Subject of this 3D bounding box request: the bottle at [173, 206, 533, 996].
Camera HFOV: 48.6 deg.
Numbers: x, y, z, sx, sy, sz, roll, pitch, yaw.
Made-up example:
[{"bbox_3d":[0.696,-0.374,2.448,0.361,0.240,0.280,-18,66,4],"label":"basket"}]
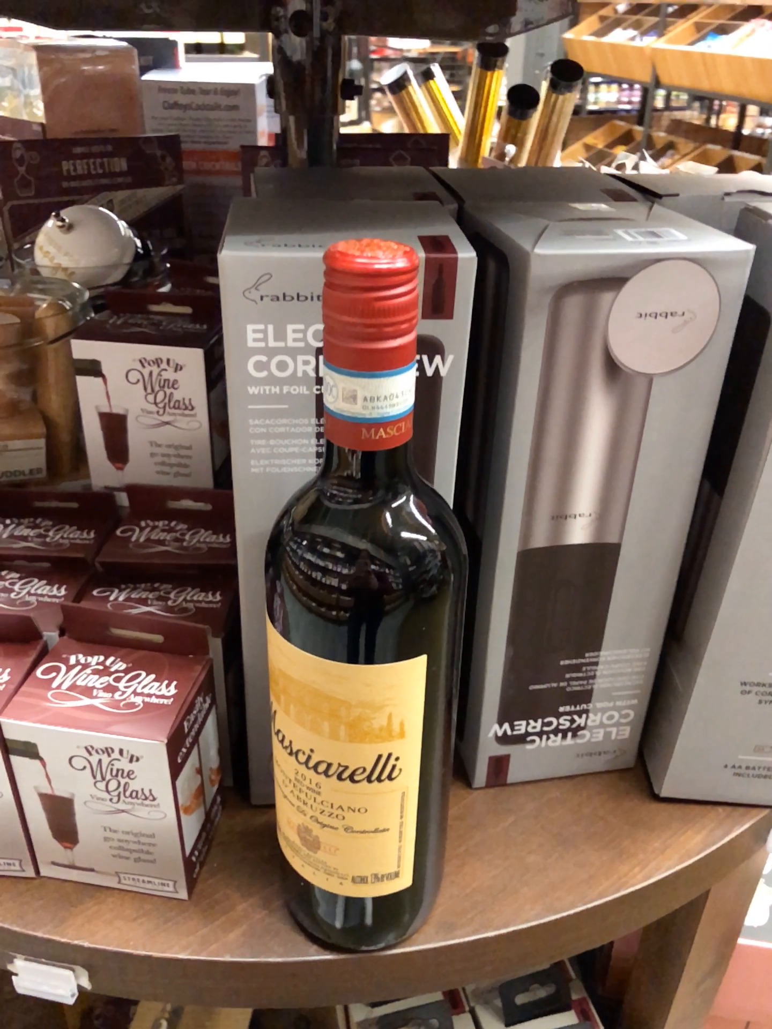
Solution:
[{"bbox_3d":[-0.009,0.044,0.316,0.072,0.283,0.075,0,30,0],"label":"bottle"}]
